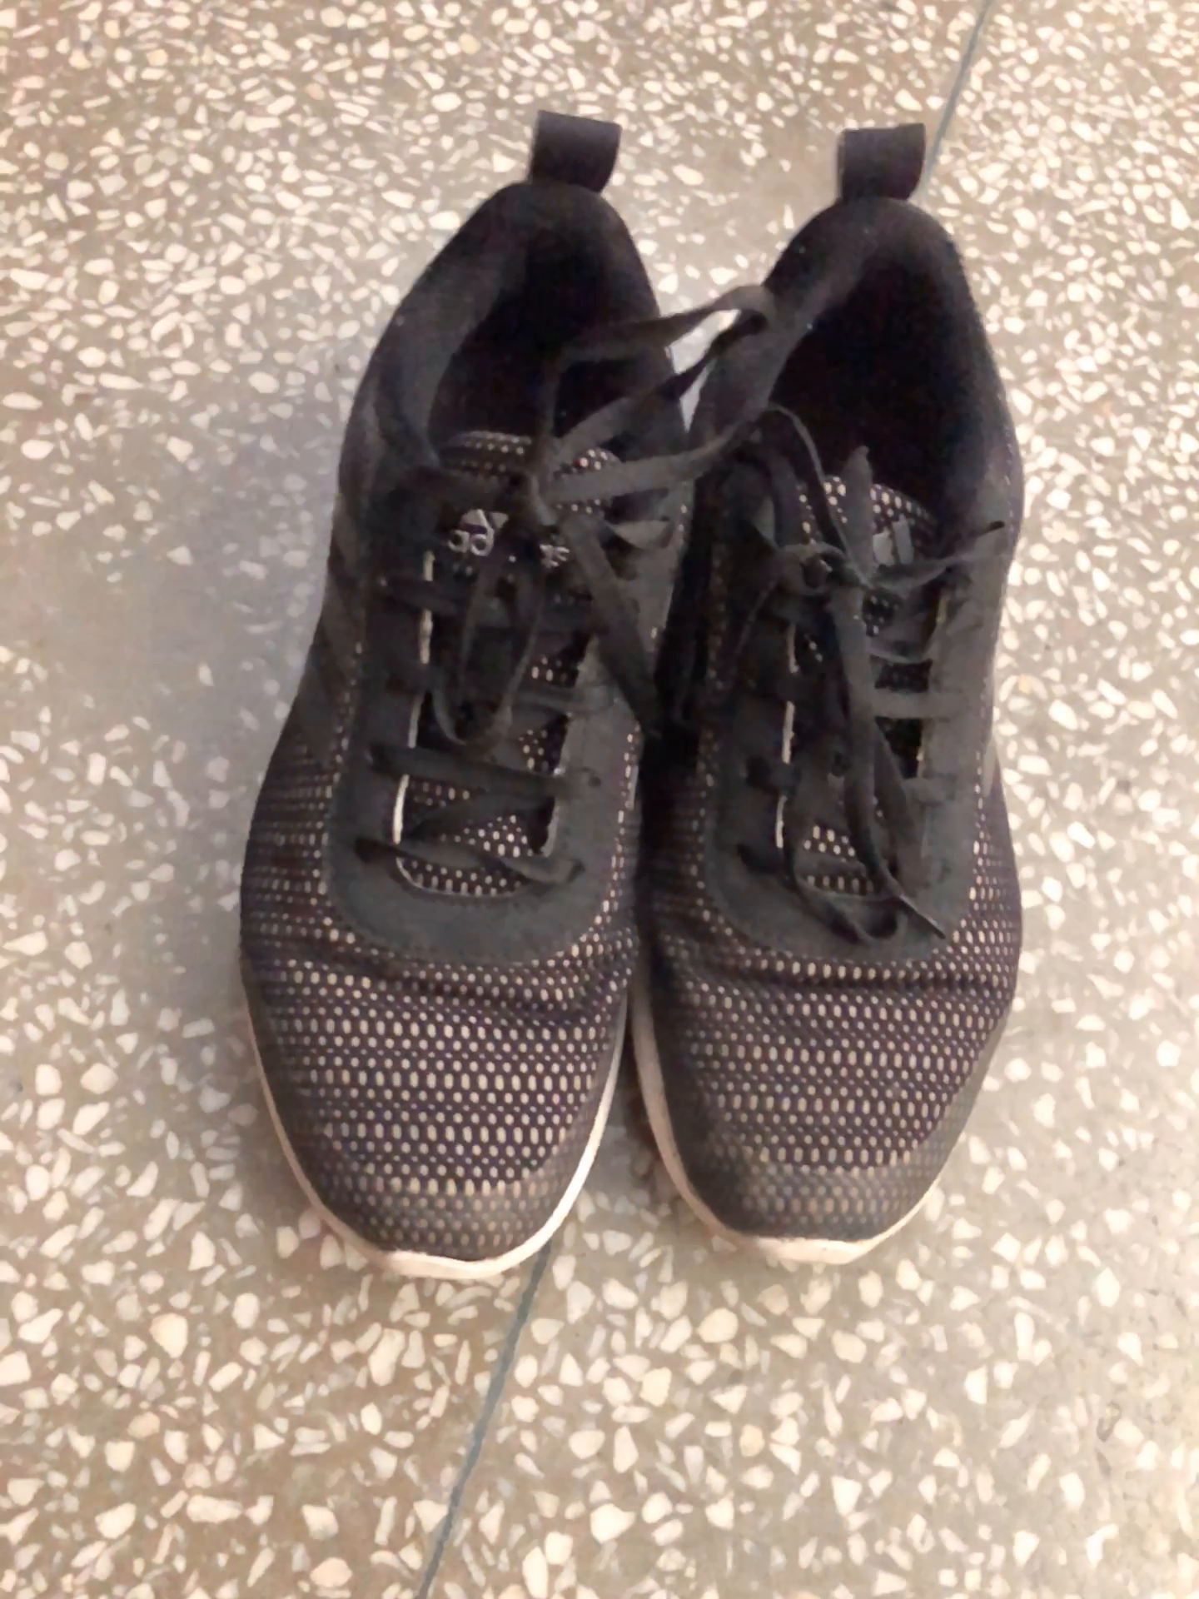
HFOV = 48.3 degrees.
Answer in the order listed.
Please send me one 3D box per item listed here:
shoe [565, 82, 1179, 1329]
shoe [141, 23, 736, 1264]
[{"bbox_3d":[0.059,-0.026,0.315,0.100,0.080,0.270,8,69,-5],"label":"shoe"},{"bbox_3d":[-0.027,-0.040,0.320,0.100,0.080,0.280,5,69,-6],"label":"shoe"}]
